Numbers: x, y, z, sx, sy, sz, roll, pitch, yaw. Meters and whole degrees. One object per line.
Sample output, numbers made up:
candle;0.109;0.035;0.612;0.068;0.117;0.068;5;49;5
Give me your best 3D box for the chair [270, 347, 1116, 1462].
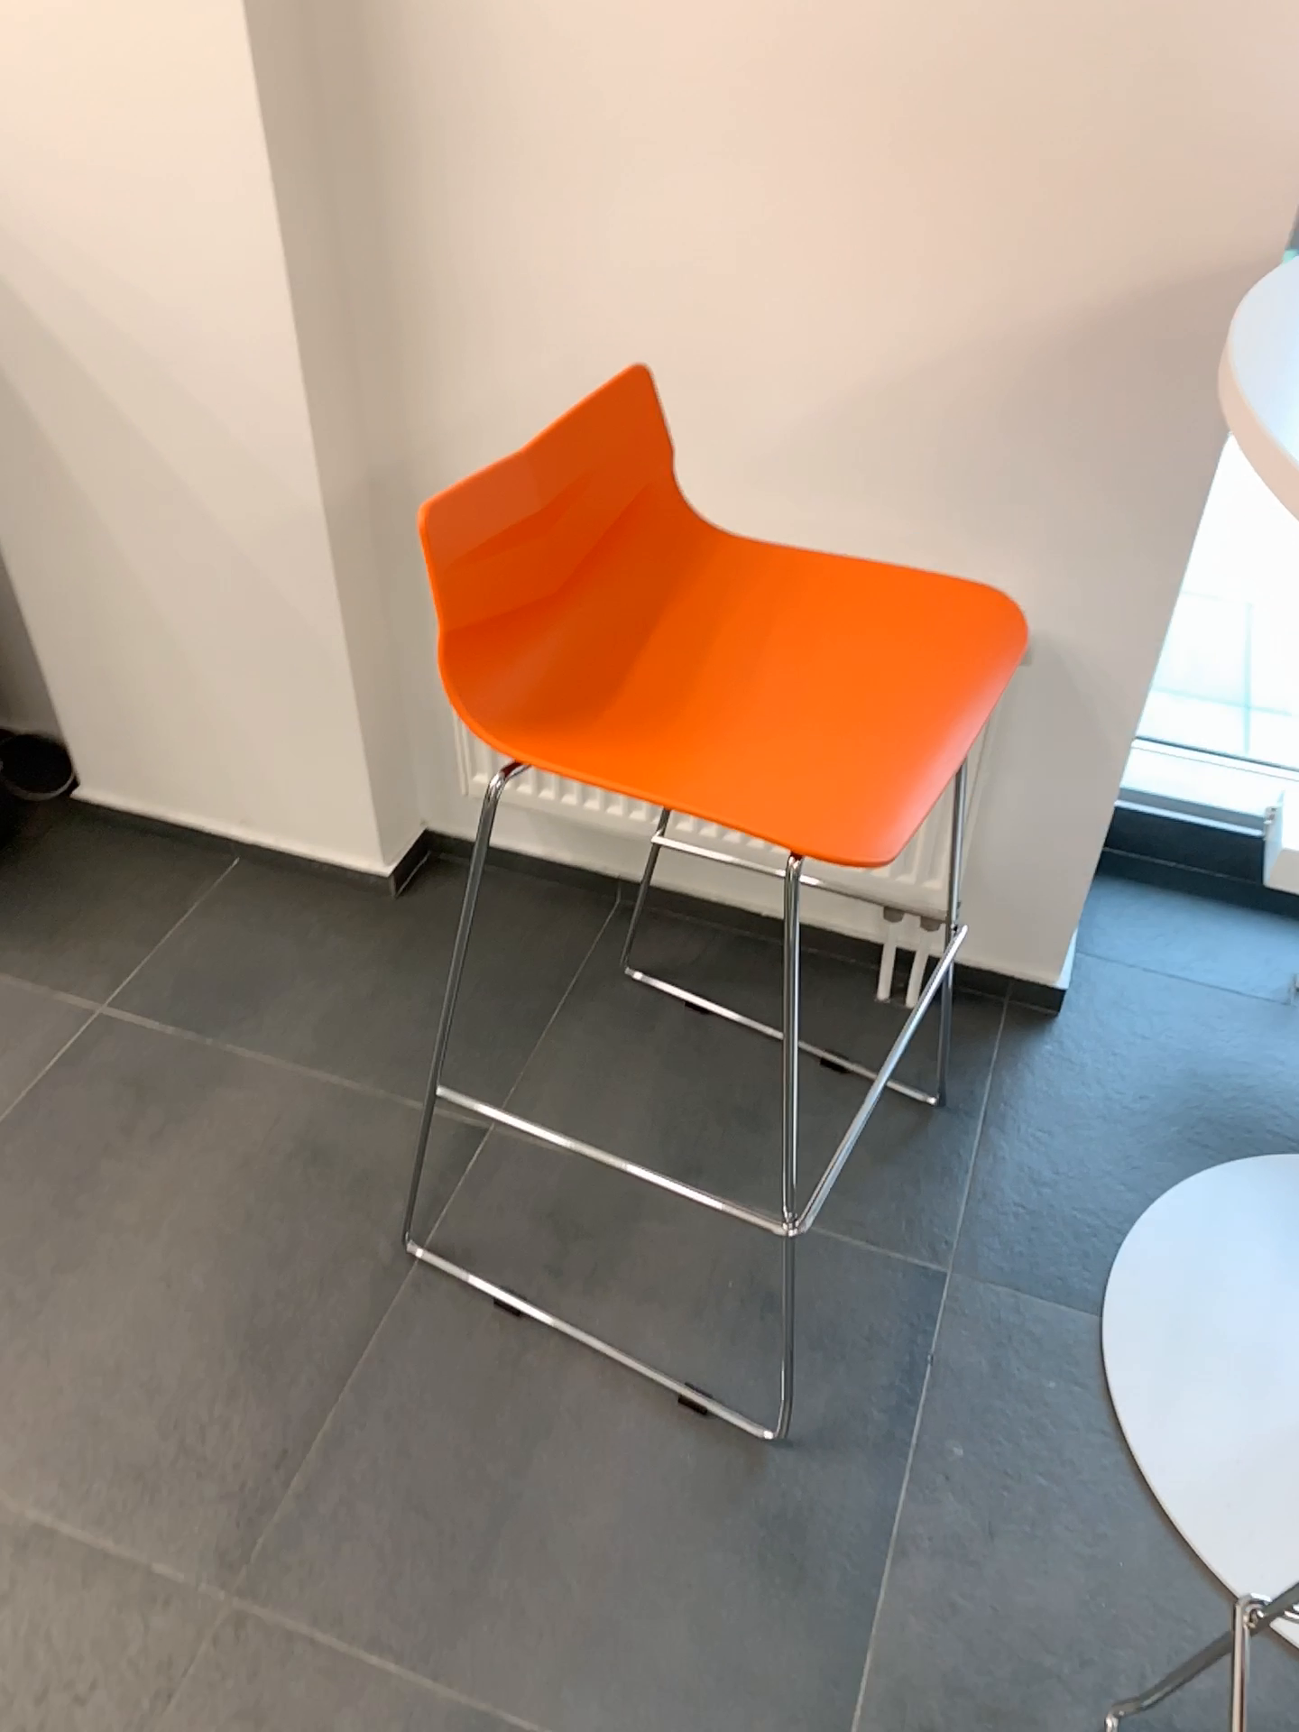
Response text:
chair;0.060;0.047;1.396;0.500;0.905;0.573;20;44;20
